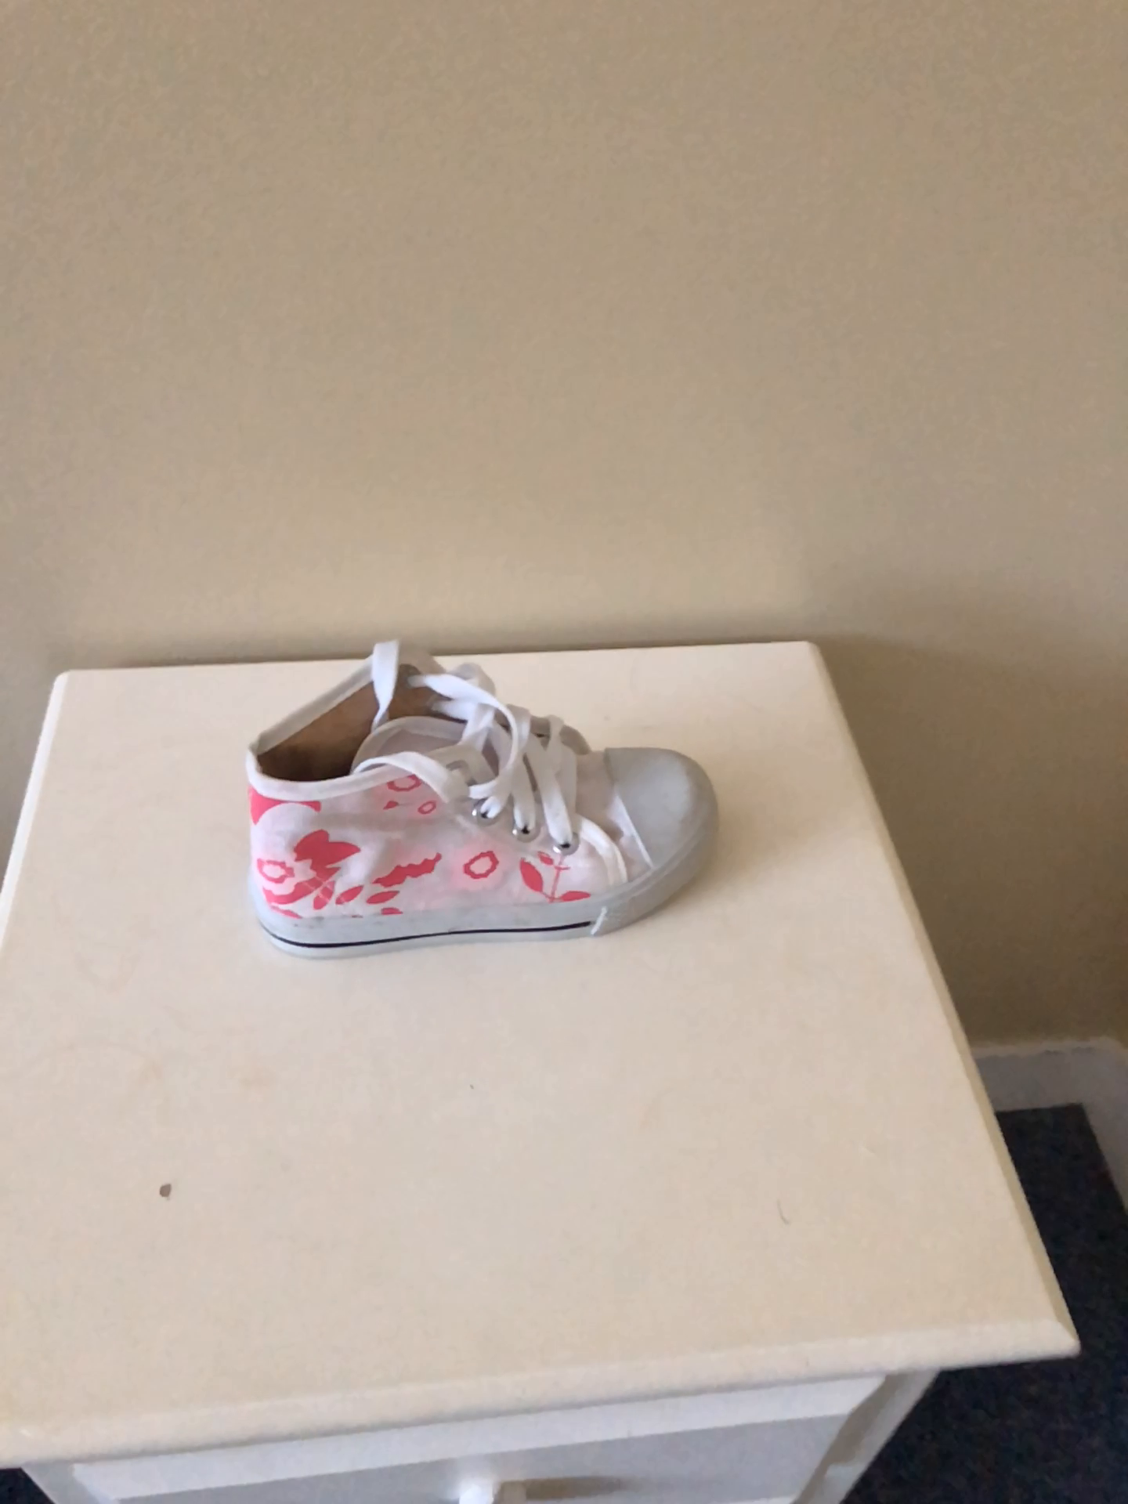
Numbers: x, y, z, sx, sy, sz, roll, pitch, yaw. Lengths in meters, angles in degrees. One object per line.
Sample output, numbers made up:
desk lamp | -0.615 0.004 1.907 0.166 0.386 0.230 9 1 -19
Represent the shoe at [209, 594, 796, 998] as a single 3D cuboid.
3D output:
shoe | -0.026 0.015 0.461 0.190 0.099 0.080 -7 46 -10
